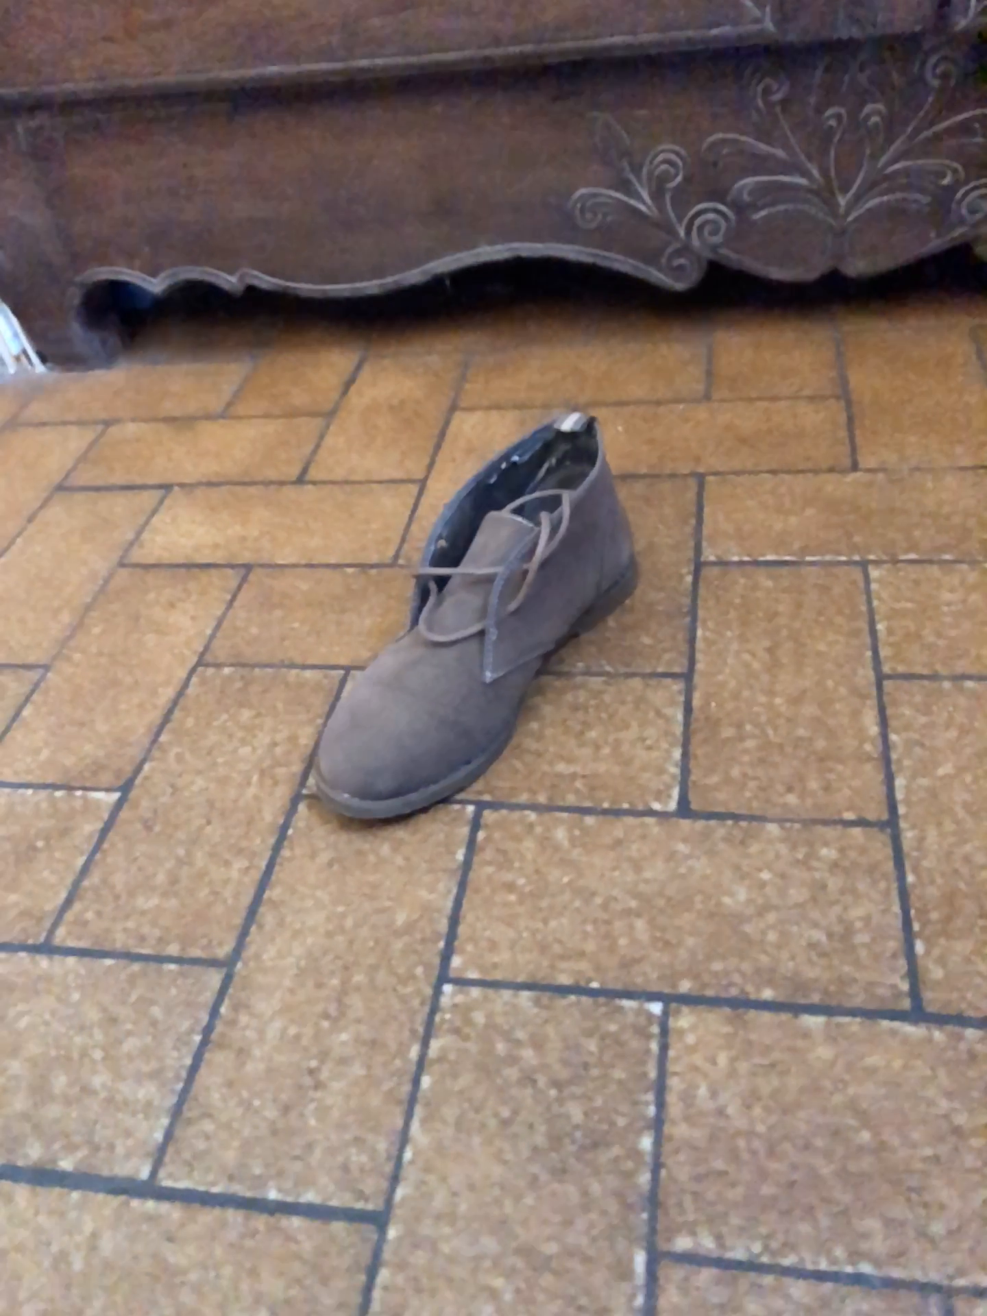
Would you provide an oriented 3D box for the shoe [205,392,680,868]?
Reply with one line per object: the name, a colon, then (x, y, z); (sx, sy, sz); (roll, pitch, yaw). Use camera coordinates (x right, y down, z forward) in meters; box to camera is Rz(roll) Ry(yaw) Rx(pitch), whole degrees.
shoe: (-0.011, -0.028, 0.574); (0.100, 0.099, 0.251); (23, 51, 32)
